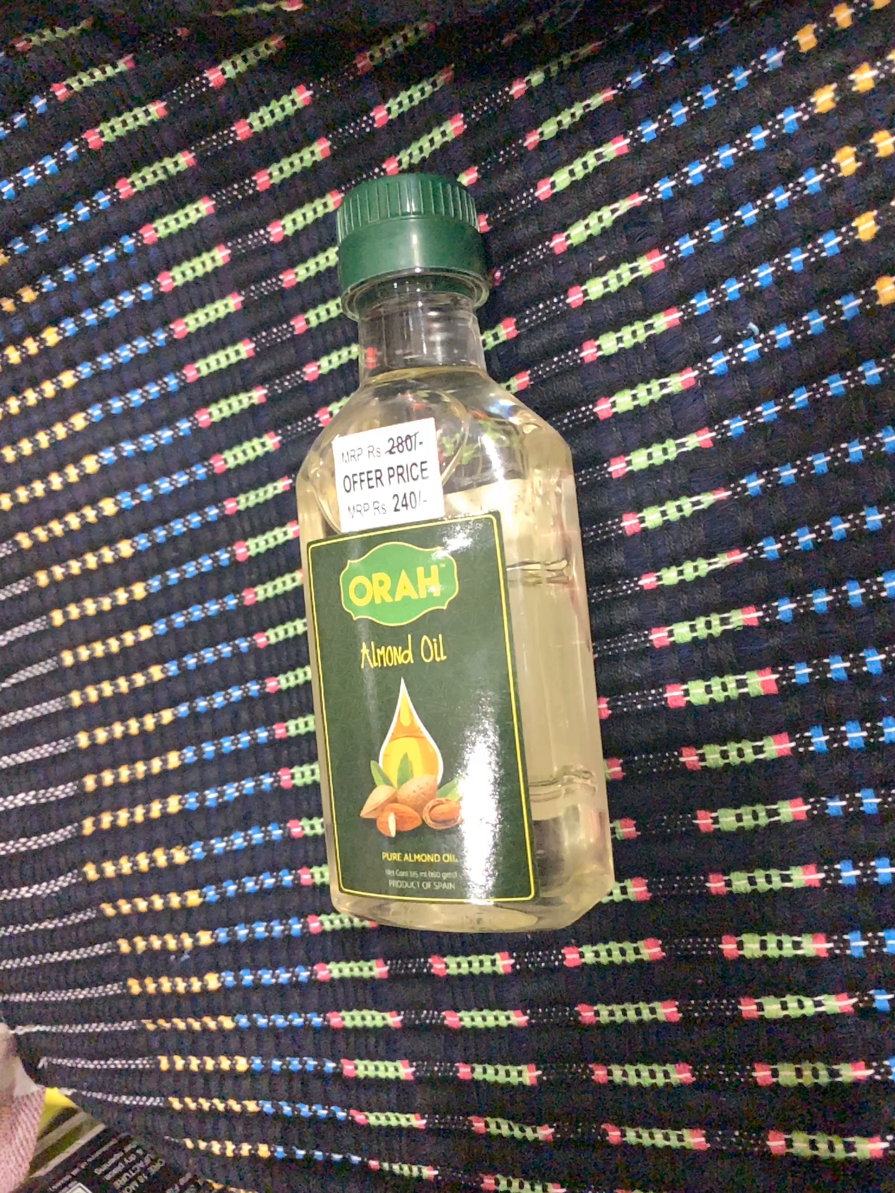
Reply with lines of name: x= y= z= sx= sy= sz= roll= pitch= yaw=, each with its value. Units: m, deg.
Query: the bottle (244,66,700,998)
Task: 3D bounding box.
bottle: x=0.002 y=-0.009 z=0.176 sx=0.060 sy=0.030 sz=0.150 roll=-11 pitch=84 yaw=32
